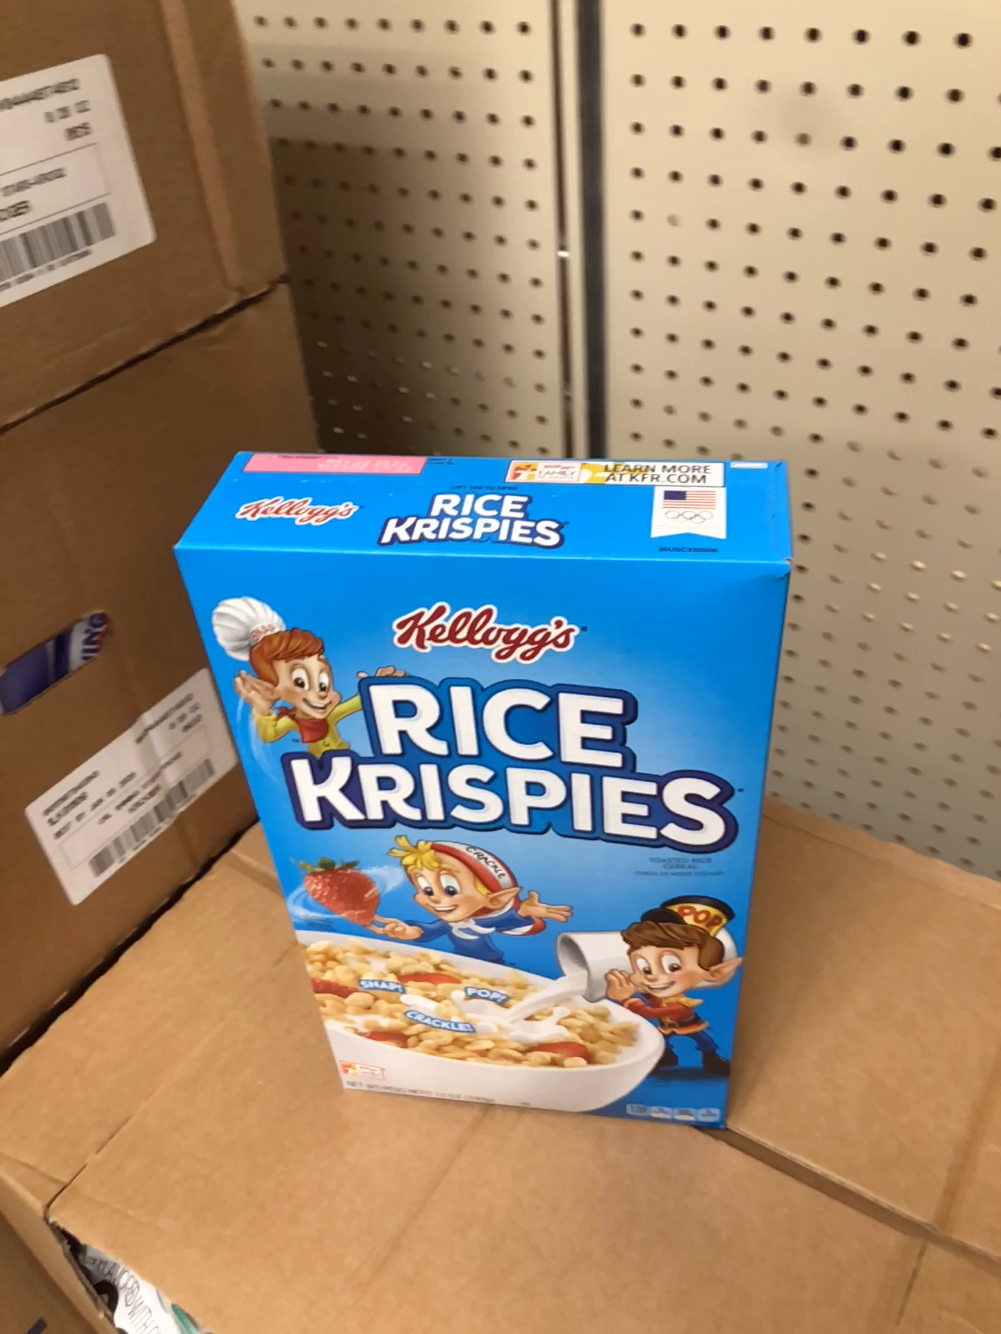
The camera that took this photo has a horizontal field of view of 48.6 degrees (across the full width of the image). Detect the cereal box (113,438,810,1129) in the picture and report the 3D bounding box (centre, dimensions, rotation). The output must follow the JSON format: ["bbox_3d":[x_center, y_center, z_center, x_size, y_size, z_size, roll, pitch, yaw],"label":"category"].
[{"bbox_3d":[0.003,0.069,0.460,0.210,0.329,0.070,2,42,10],"label":"cereal box"}]
